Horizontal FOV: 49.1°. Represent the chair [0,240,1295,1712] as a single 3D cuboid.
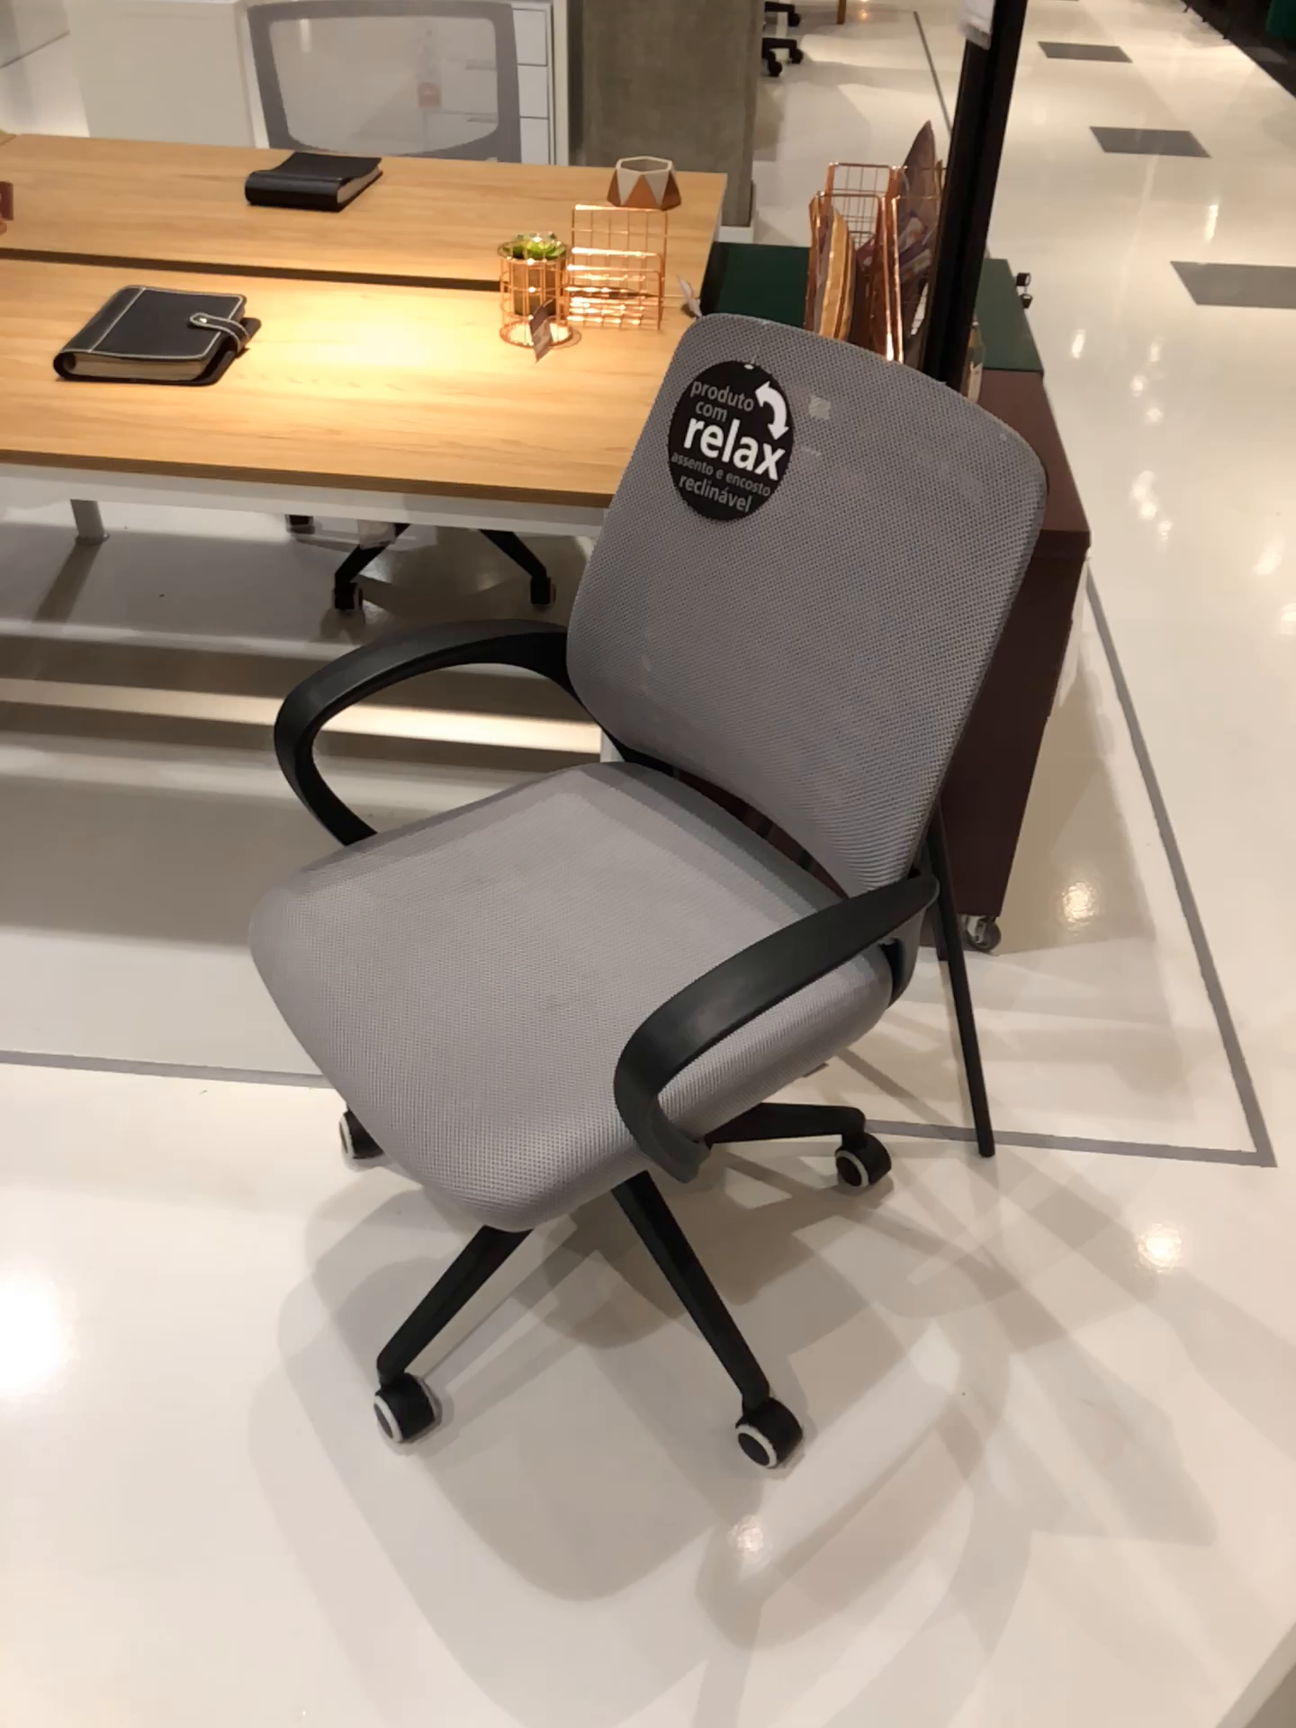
[{"bbox_3d":[-0.036,0.050,1.220,0.662,0.853,0.663,-25,46,-29],"label":"chair"}]
